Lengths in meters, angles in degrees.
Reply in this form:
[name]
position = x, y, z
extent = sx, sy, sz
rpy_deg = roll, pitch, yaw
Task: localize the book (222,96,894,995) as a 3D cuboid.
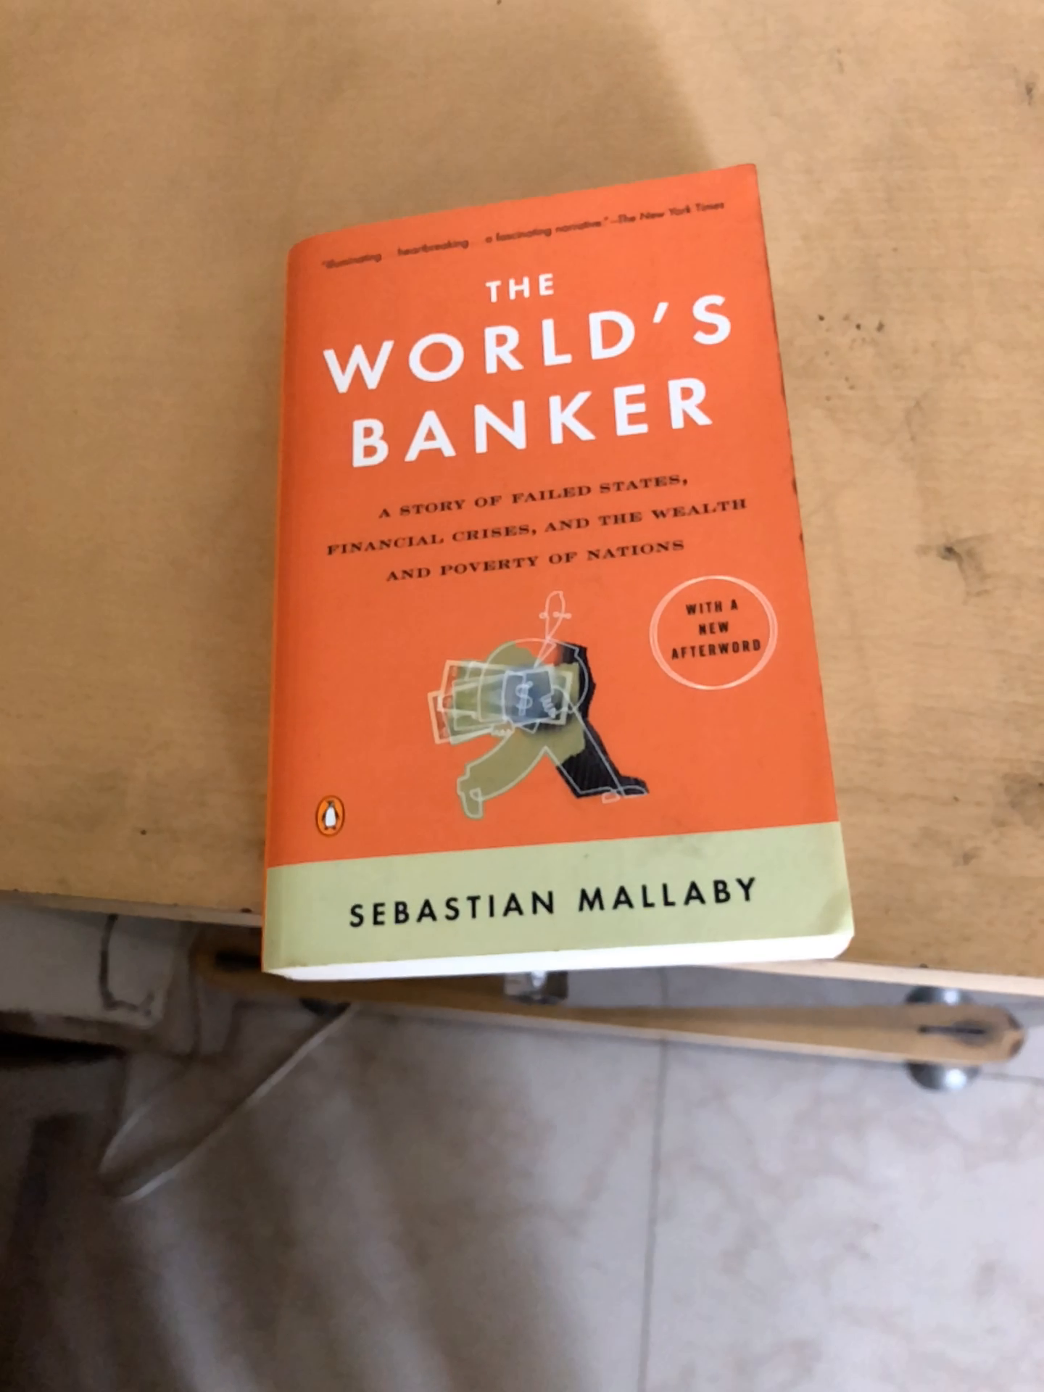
[book]
position = 0.005, -0.042, 0.292
extent = 0.140, 0.030, 0.220
rpy_deg = -4, 70, 8
